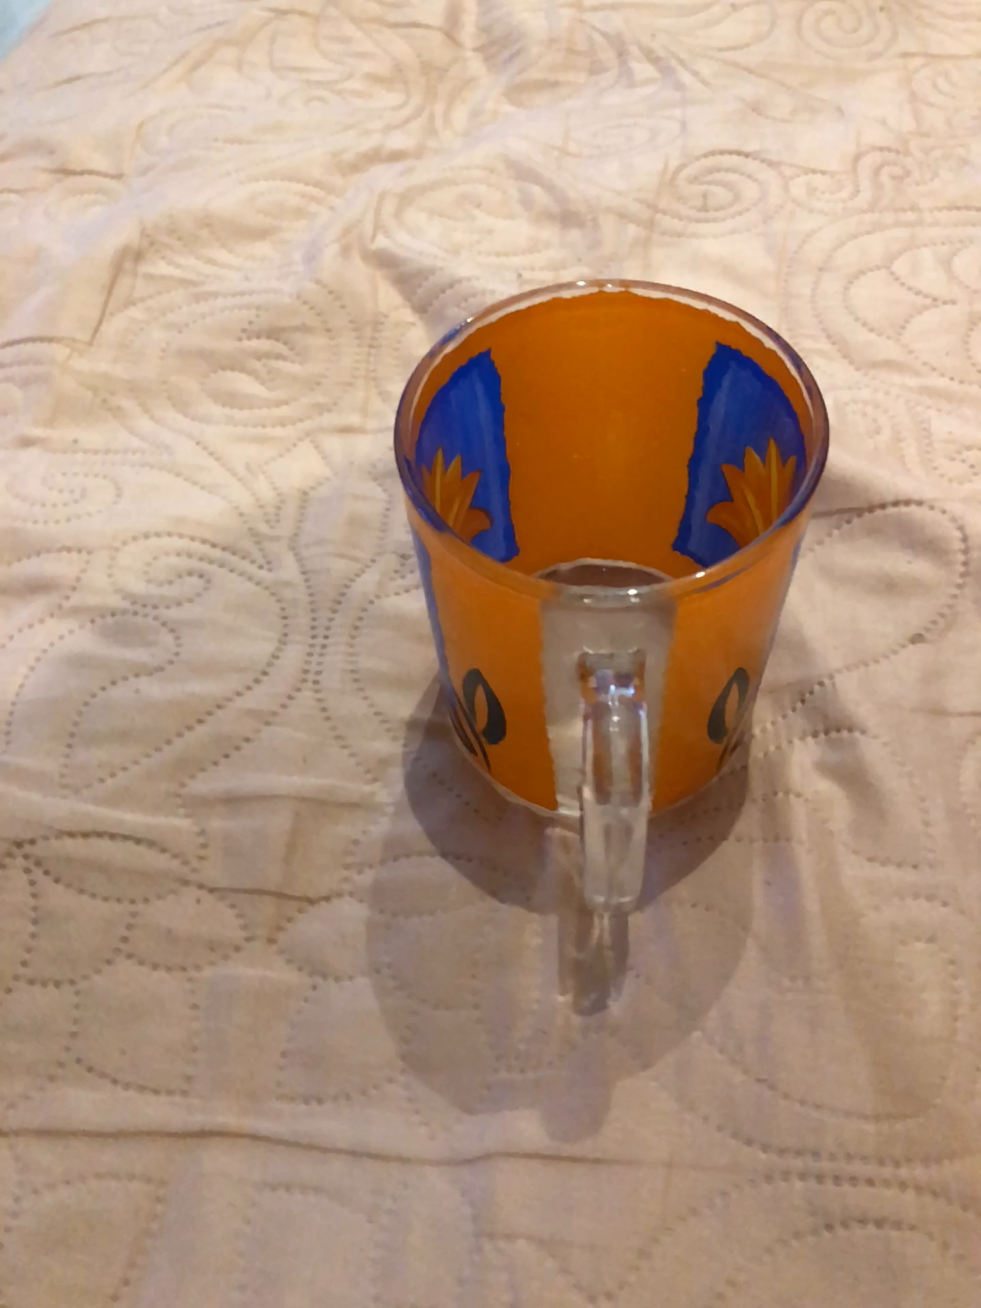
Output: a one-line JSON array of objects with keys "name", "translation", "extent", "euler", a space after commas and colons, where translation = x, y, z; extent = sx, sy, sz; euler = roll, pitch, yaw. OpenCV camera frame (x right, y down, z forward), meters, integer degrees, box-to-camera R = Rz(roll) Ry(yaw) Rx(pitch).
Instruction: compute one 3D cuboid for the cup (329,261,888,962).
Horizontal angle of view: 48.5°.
[{"name": "cup", "translation": [0.023, -0.008, 0.225], "extent": [0.080, 0.090, 0.111], "euler": [0, 54, 6]}]
